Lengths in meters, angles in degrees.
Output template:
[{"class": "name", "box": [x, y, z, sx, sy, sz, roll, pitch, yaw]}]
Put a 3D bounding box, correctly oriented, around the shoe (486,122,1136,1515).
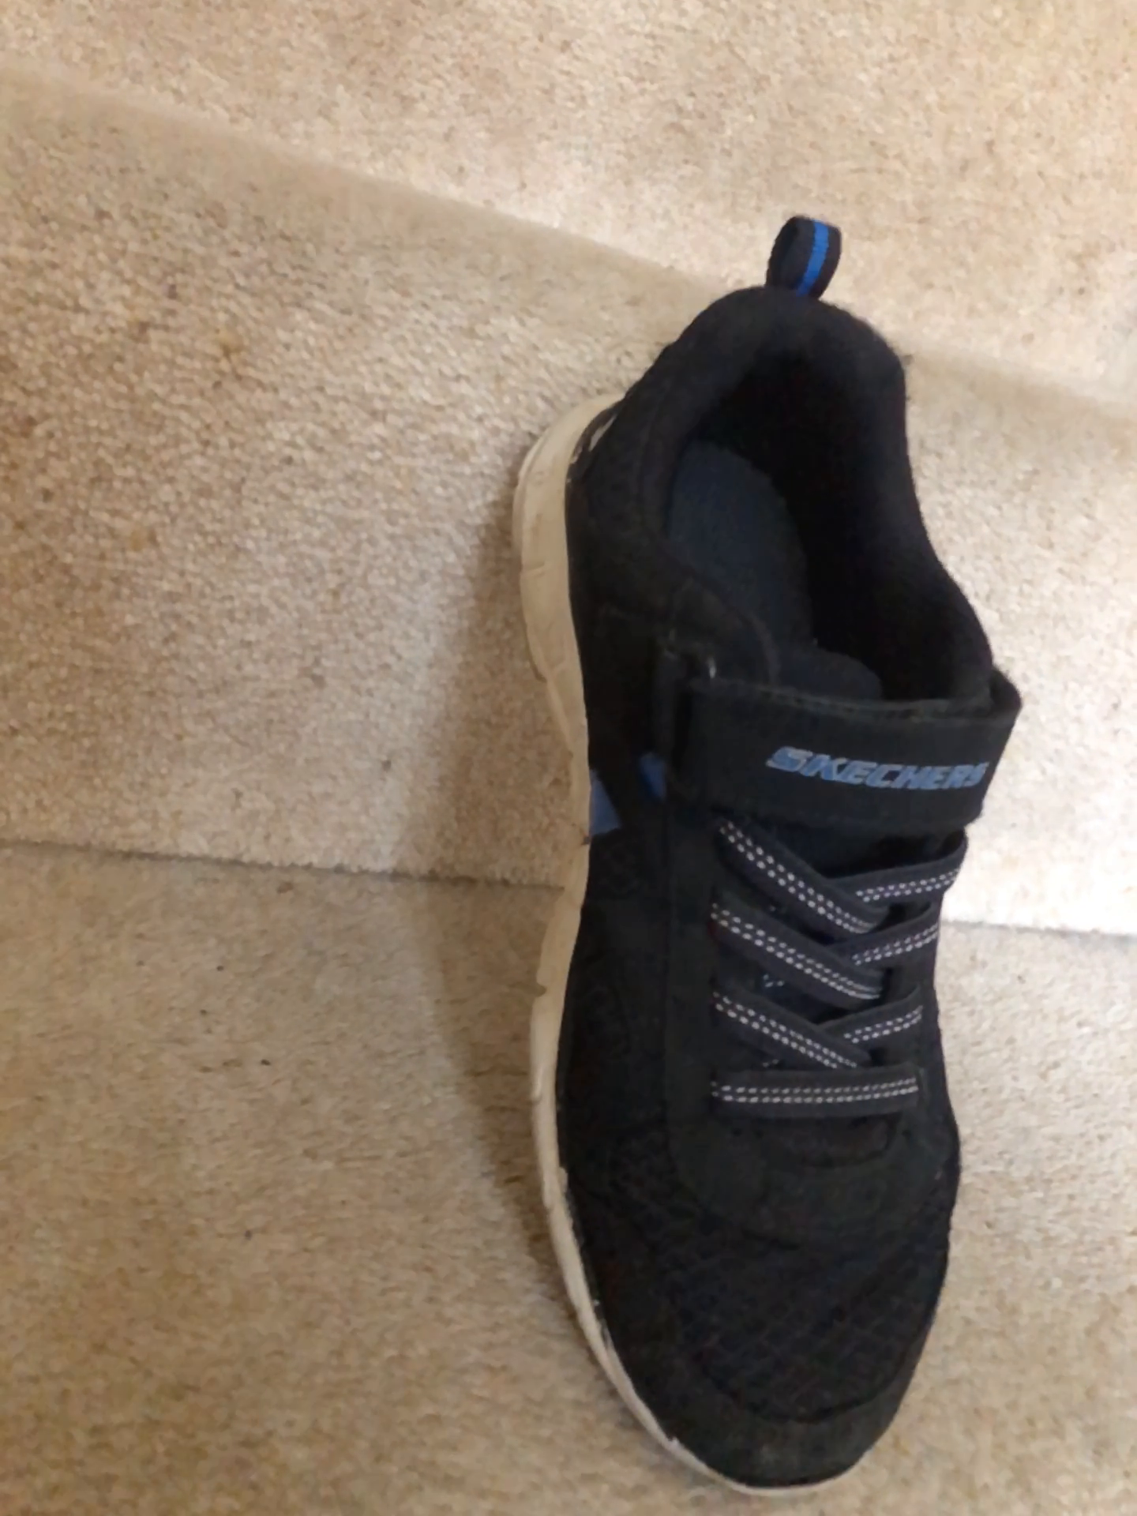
[{"class": "shoe", "box": [0.040, 0.013, 0.245, 0.090, 0.221, 0.100, 4, -14, -15]}]
